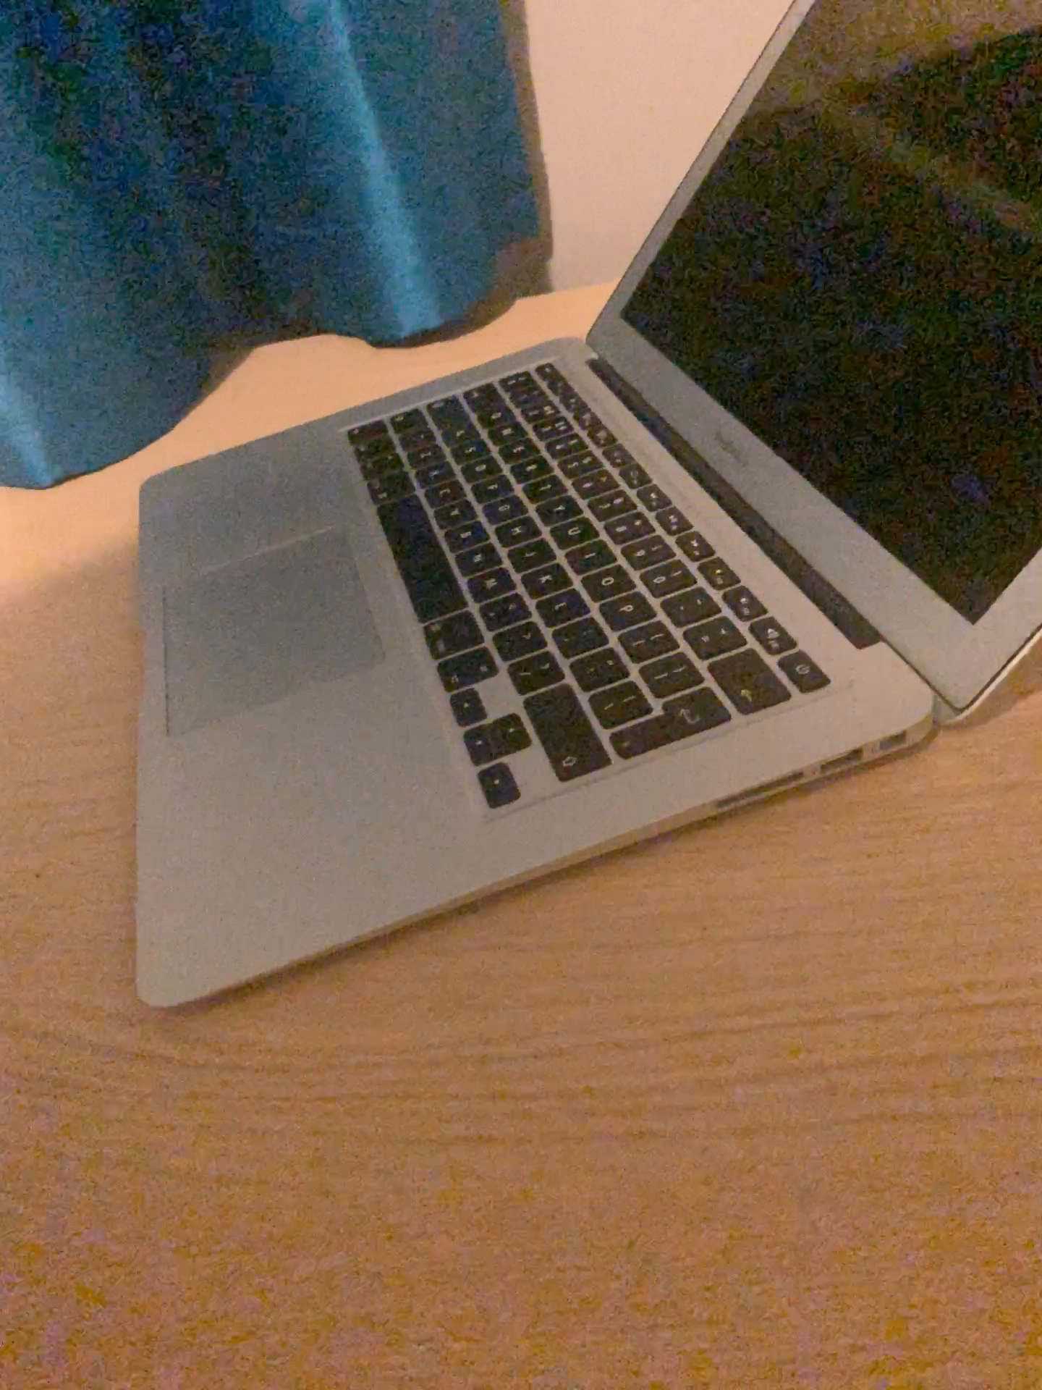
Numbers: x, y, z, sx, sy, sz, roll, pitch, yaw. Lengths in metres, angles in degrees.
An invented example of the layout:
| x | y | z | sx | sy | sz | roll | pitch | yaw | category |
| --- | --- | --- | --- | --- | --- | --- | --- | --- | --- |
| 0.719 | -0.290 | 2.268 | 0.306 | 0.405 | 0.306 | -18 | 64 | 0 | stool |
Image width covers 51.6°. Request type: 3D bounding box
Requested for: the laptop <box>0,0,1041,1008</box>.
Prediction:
| x | y | z | sx | sy | sz | roll | pitch | yaw | category |
| --- | --- | --- | --- | --- | --- | --- | --- | --- | --- |
| 0.025 | -0.128 | 0.353 | 0.368 | 0.144 | 0.304 | -19 | 39 | -6 | laptop |
